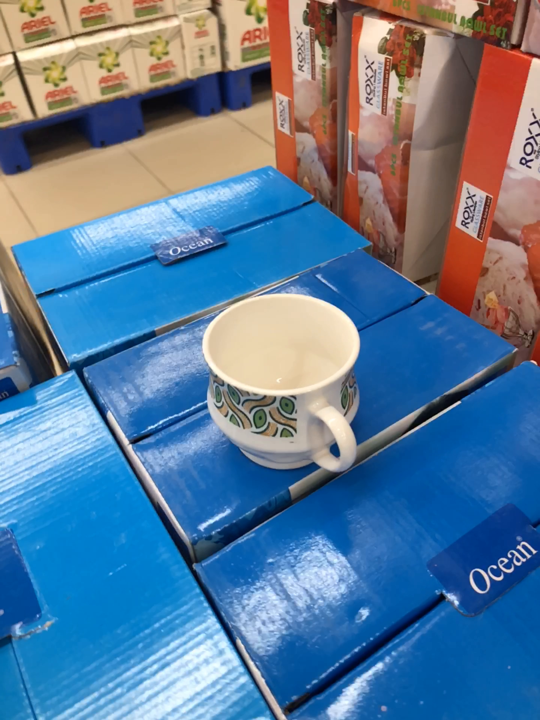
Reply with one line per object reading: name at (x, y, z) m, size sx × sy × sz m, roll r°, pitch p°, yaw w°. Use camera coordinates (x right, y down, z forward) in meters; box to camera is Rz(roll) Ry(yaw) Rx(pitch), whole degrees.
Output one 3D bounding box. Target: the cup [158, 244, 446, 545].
cup at (0.010, 0.009, 0.261) m, size 0.070 × 0.060 × 0.100 m, roll -27°, pitch 49°, yaw -22°
